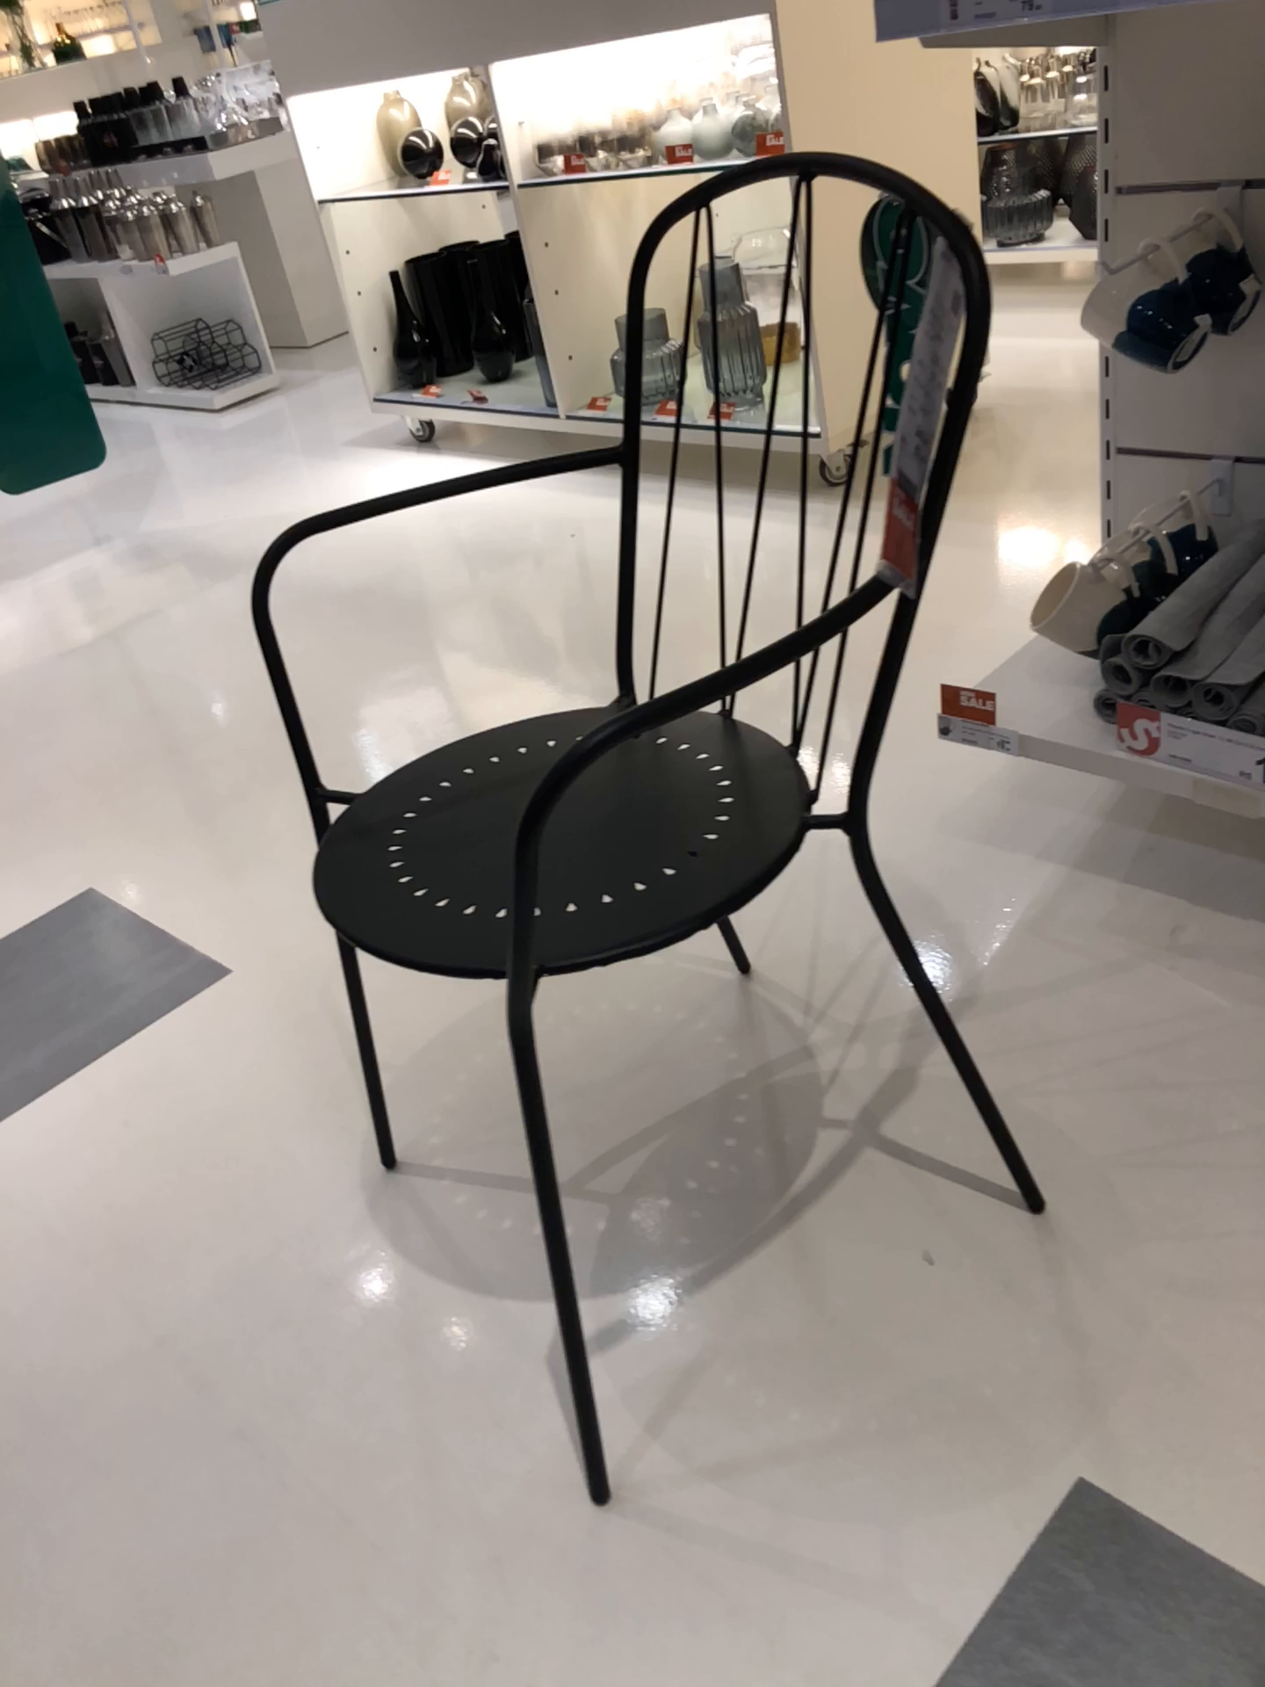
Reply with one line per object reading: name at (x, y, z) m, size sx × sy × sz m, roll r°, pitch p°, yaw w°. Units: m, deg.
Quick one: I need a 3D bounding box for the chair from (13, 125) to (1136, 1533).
chair at (-0.004, -0.049, 1.099) m, size 0.561 × 0.814 × 0.513 m, roll -25°, pitch 33°, yaw -20°
